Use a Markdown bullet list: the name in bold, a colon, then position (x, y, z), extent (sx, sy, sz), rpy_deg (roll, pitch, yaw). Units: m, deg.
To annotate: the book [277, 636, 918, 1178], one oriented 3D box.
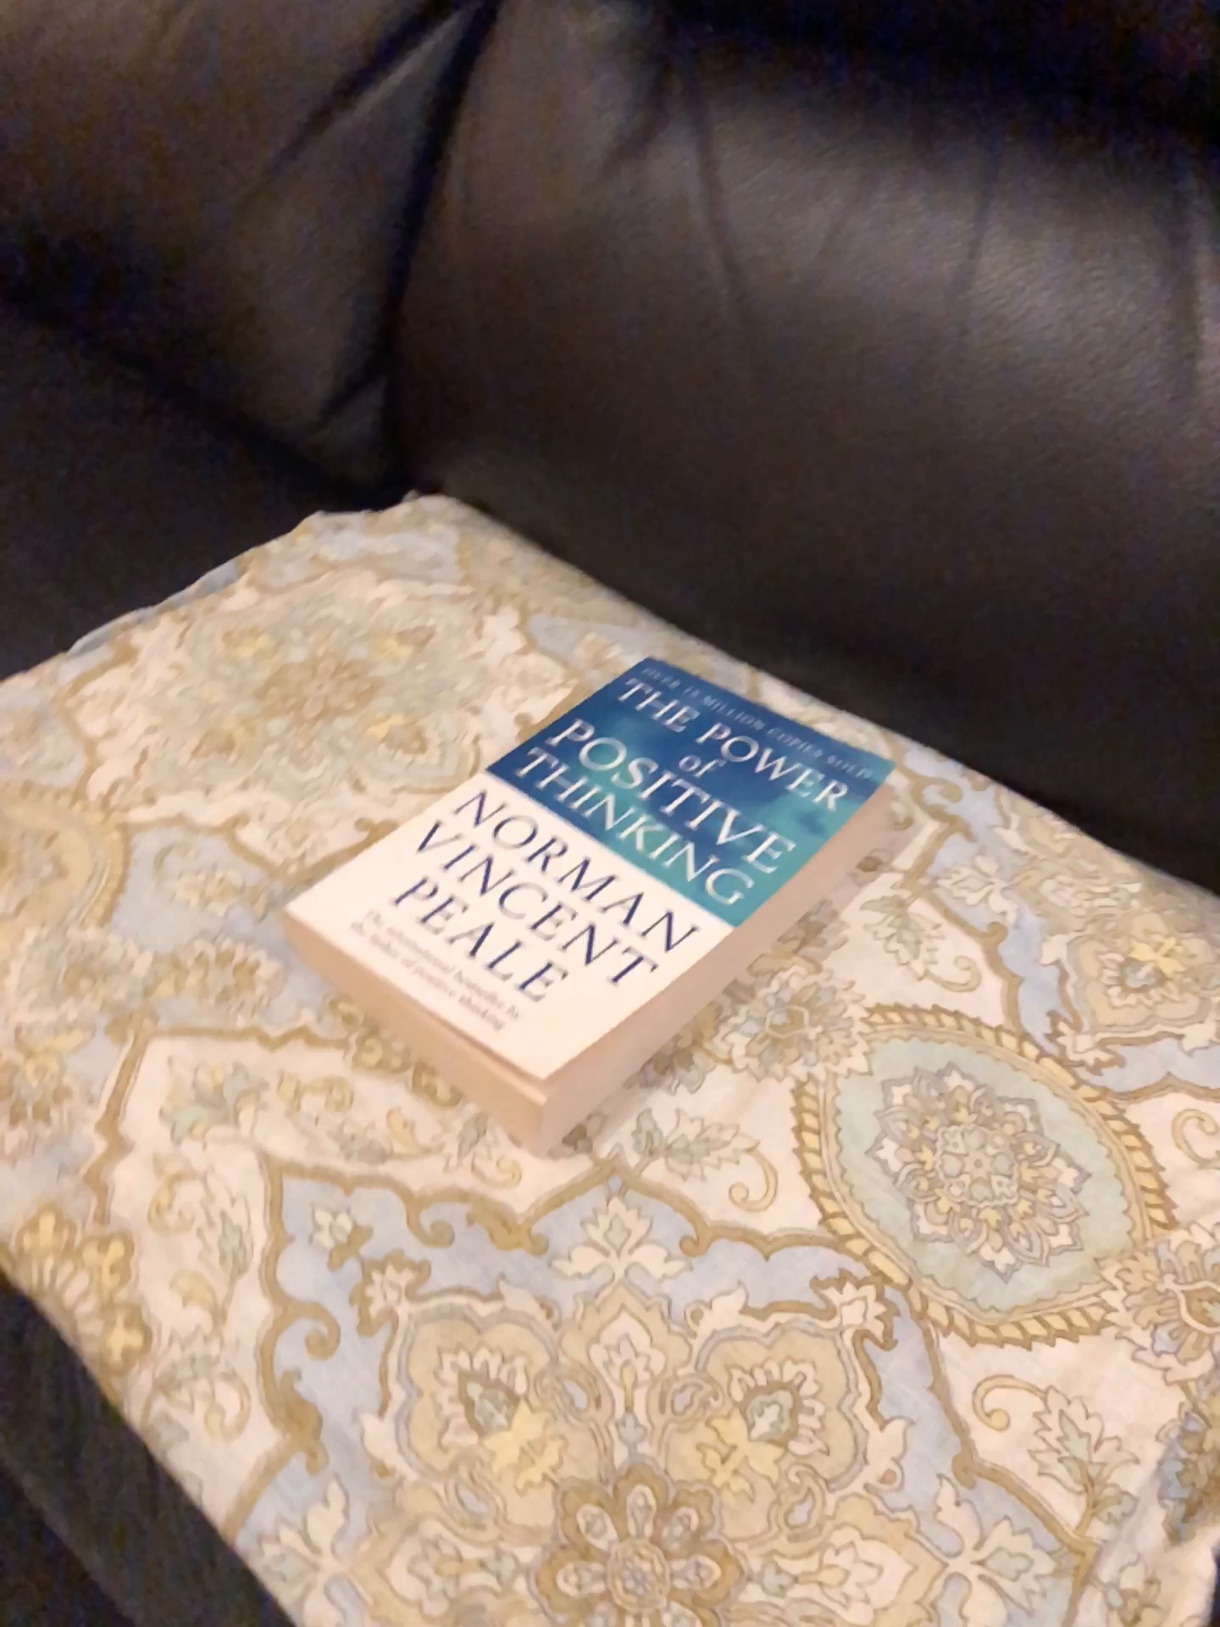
- **book**: position (0.001, 0.018, 0.452), extent (0.120, 0.030, 0.183), rpy_deg (30, 52, 28)
